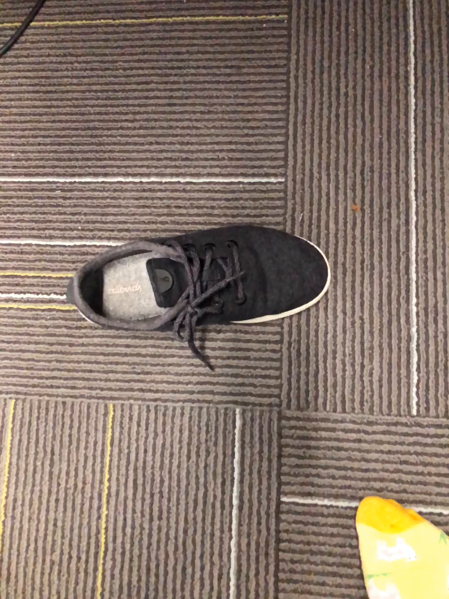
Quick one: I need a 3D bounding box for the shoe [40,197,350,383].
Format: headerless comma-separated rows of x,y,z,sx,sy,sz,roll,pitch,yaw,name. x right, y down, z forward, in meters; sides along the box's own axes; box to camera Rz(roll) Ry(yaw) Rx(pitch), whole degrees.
-0.032,-0.004,0.495,0.280,0.060,0.140,-8,81,5,shoe
